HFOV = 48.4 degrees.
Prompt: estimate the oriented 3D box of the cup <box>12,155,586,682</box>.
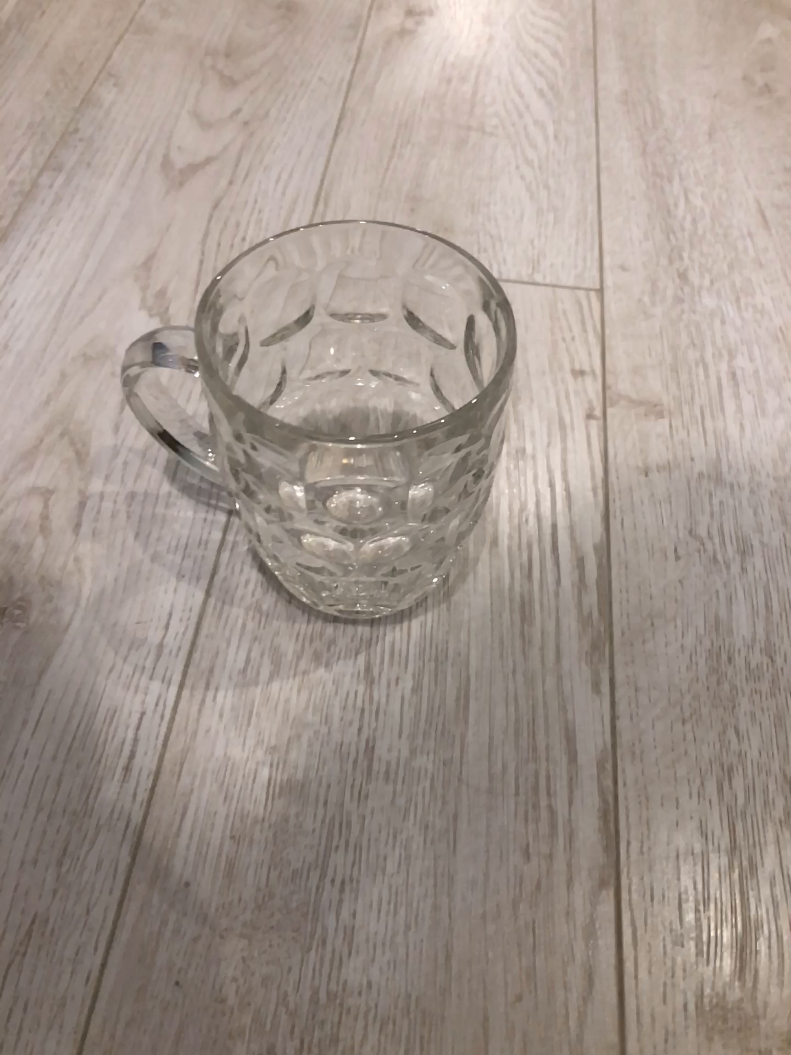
[{"bbox_3d":[-0.025,-0.036,0.303,0.140,0.109,0.101,17,55,9],"label":"cup"}]
